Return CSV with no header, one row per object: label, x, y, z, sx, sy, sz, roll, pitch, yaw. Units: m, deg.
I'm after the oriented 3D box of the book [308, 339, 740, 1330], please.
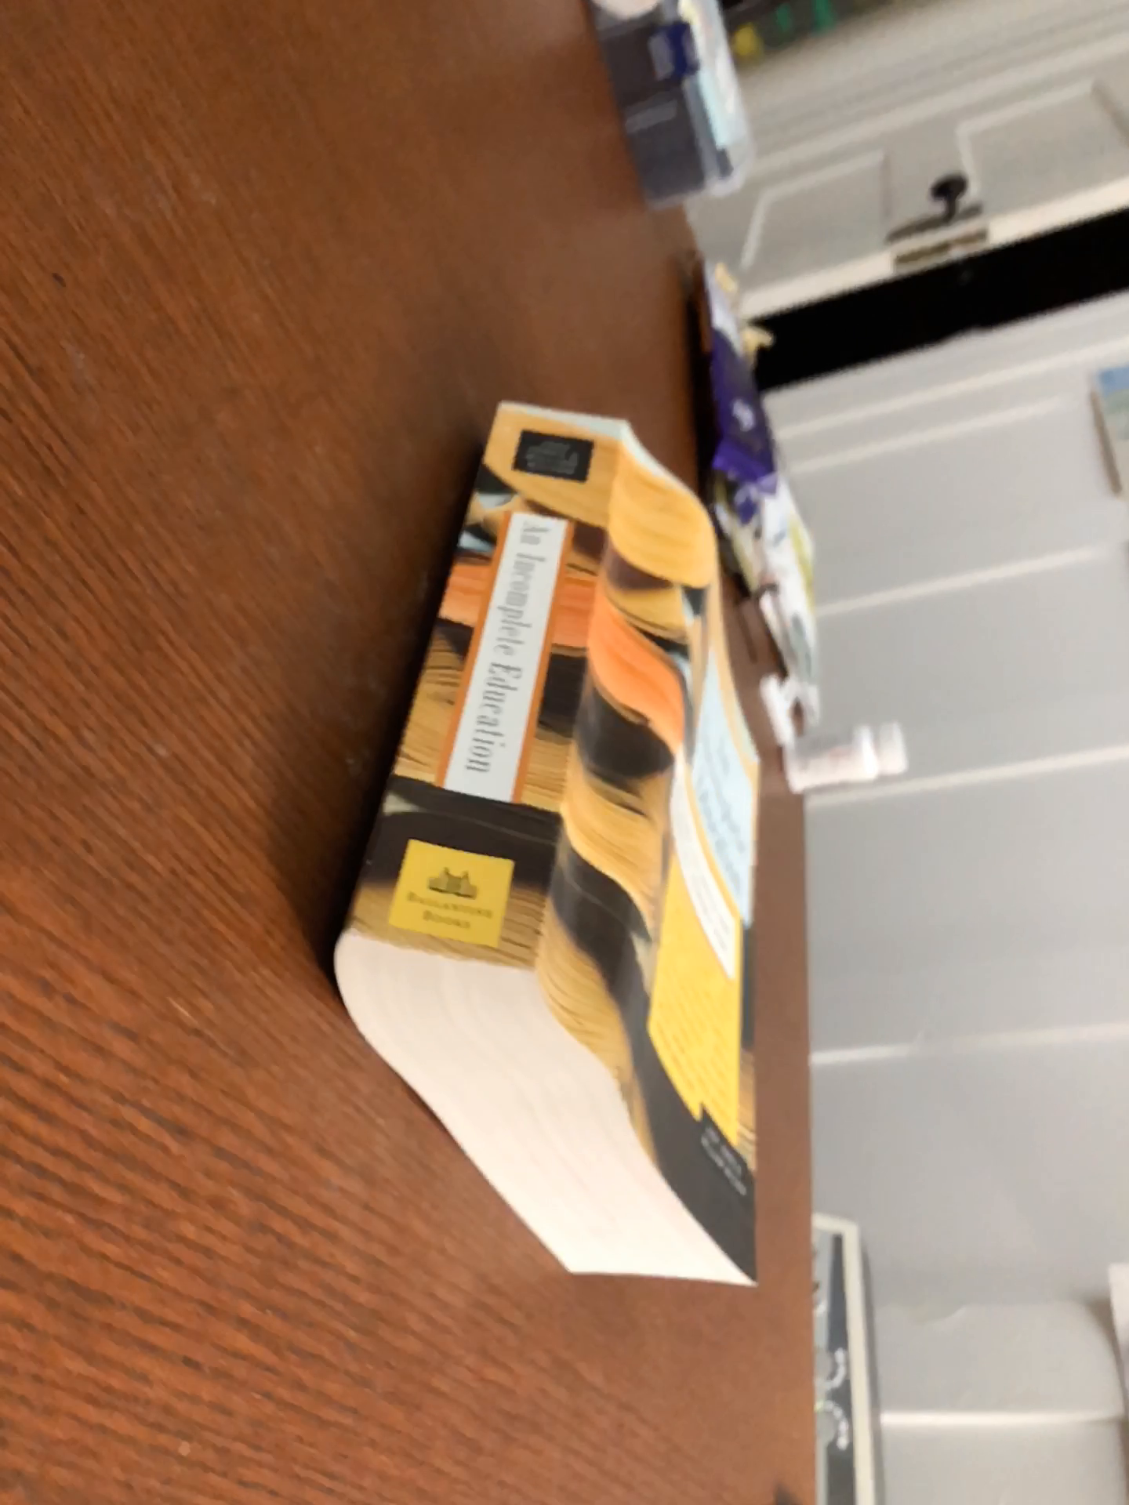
book,0.012,0.025,0.423,0.210,0.060,0.251,72,20,-45
